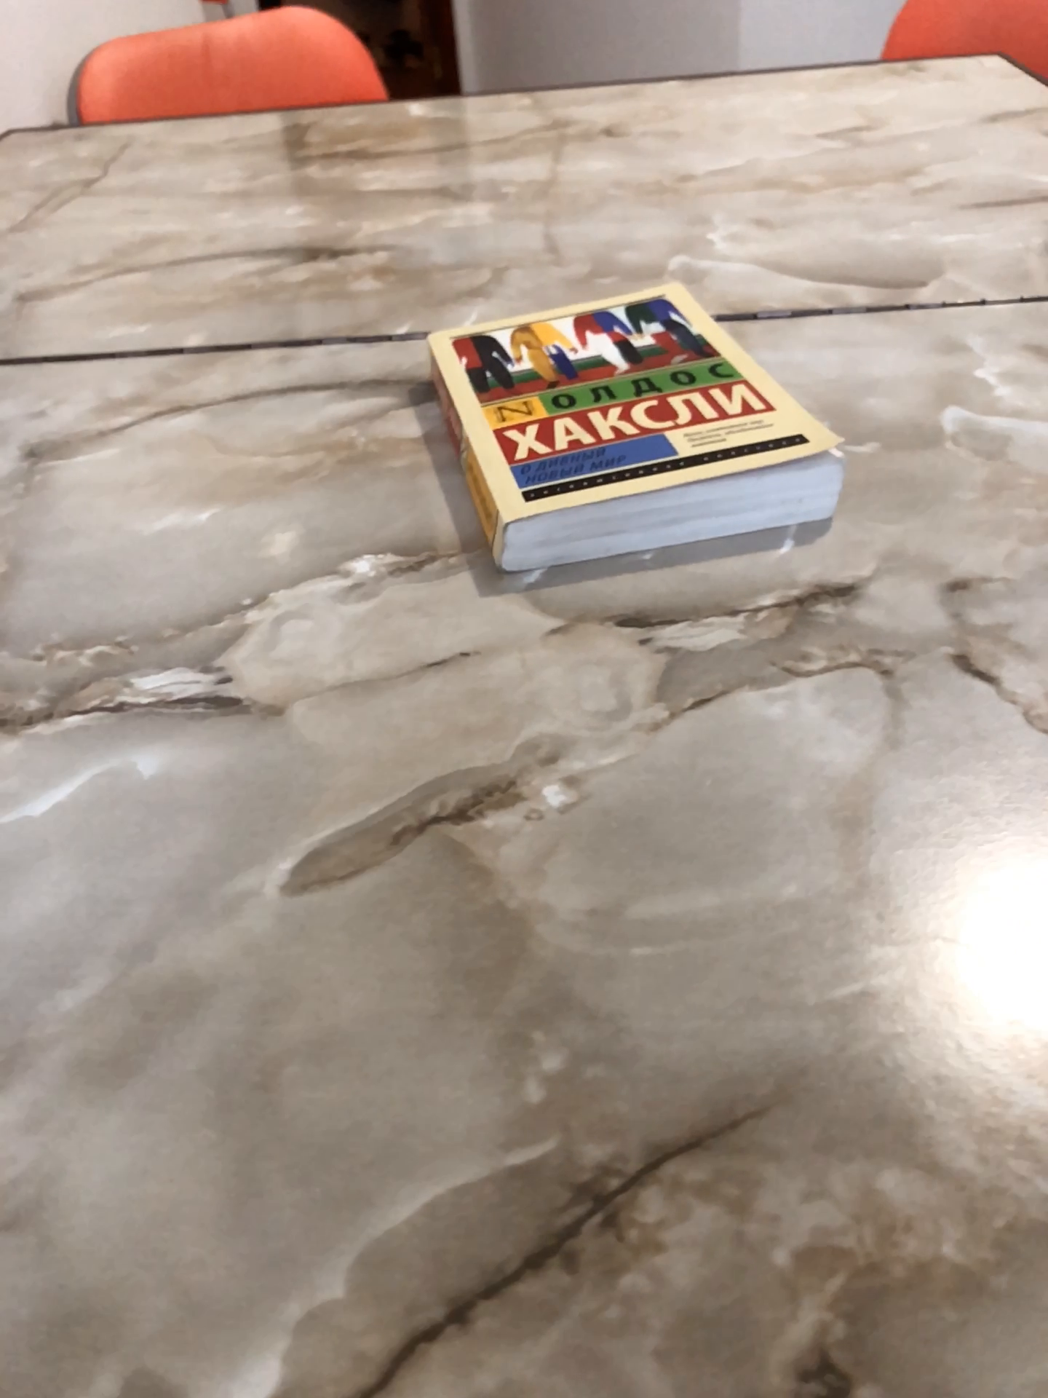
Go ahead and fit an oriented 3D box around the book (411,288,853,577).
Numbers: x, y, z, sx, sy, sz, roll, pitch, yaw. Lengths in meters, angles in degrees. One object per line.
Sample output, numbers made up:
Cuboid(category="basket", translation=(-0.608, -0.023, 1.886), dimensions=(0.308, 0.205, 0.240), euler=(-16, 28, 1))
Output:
Cuboid(category="book", translation=(0.029, -0.112, 0.446), dimensions=(0.120, 0.020, 0.185), euler=(-11, 37, -7))
